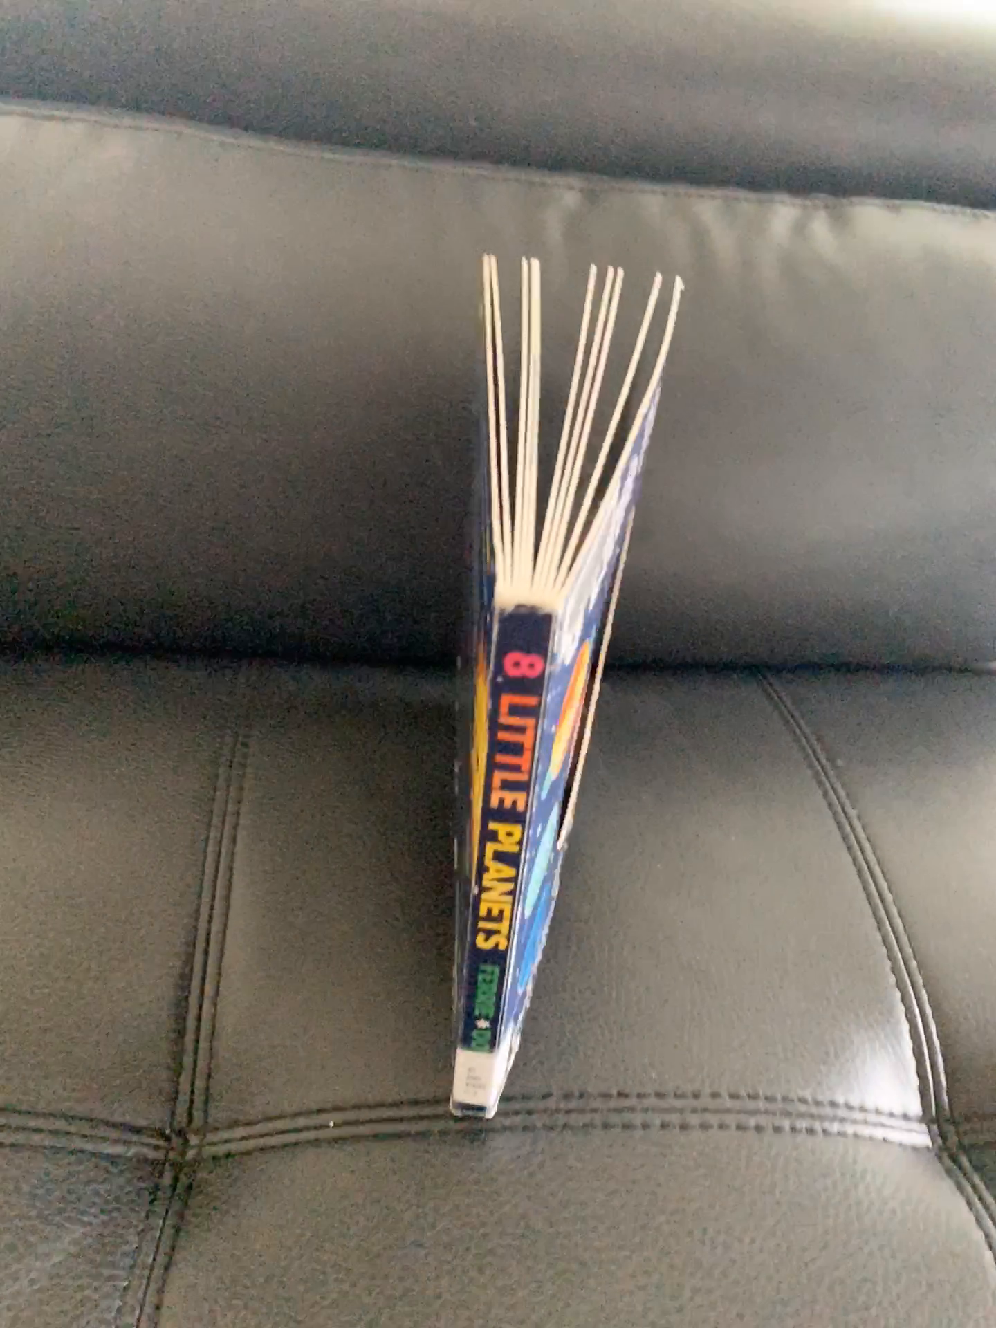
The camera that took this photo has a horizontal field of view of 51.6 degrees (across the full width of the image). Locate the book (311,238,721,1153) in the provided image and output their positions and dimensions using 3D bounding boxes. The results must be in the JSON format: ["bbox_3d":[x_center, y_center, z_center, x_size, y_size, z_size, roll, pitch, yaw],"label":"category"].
[{"bbox_3d":[0.010,0.003,0.343,0.079,0.211,0.209,7,39,4],"label":"book"}]
